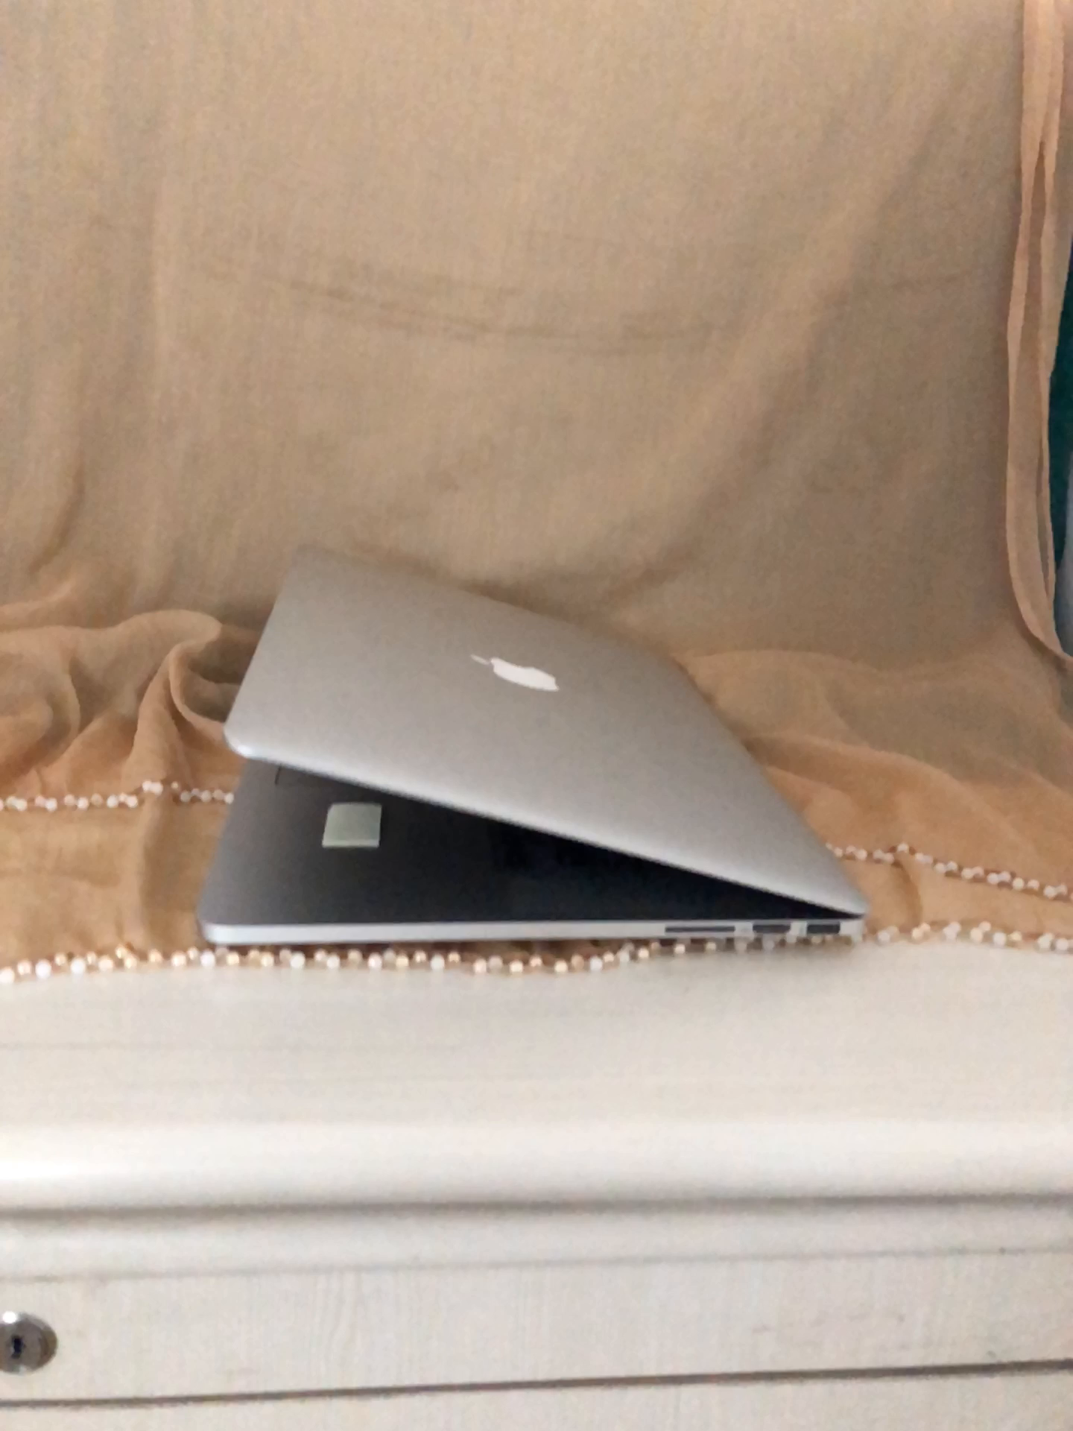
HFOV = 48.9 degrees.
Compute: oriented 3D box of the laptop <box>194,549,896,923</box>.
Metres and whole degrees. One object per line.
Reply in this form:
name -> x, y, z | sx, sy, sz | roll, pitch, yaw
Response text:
laptop -> -0.016, -0.013, 0.573 | 0.239, 0.063, 0.353 | 2, 18, -7
